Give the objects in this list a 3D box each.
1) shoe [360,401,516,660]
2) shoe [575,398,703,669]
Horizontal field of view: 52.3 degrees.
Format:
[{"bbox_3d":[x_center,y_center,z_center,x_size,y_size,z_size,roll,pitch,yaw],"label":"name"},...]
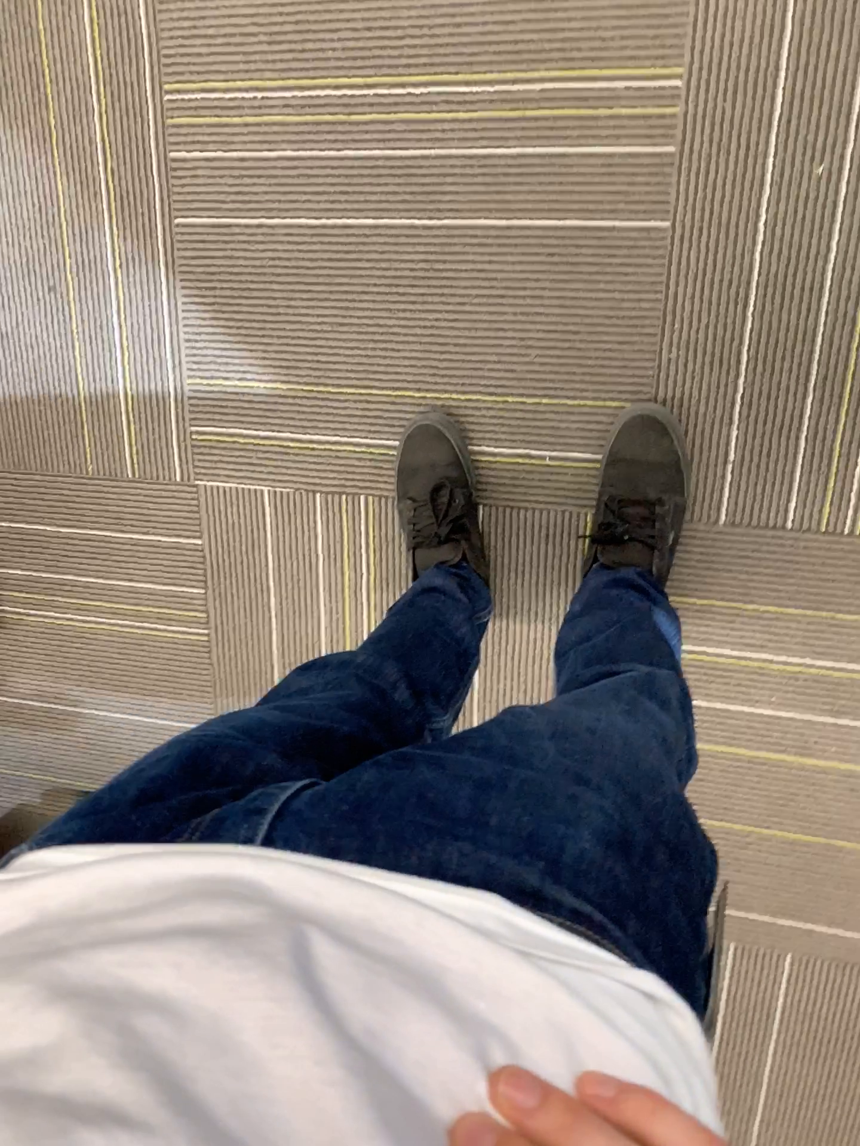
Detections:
[{"bbox_3d":[0.017,-0.052,1.096,0.109,0.113,0.291,-8,106,18],"label":"shoe"},{"bbox_3d":[0.244,-0.049,1.032,0.109,0.113,0.292,6,110,13],"label":"shoe"}]
